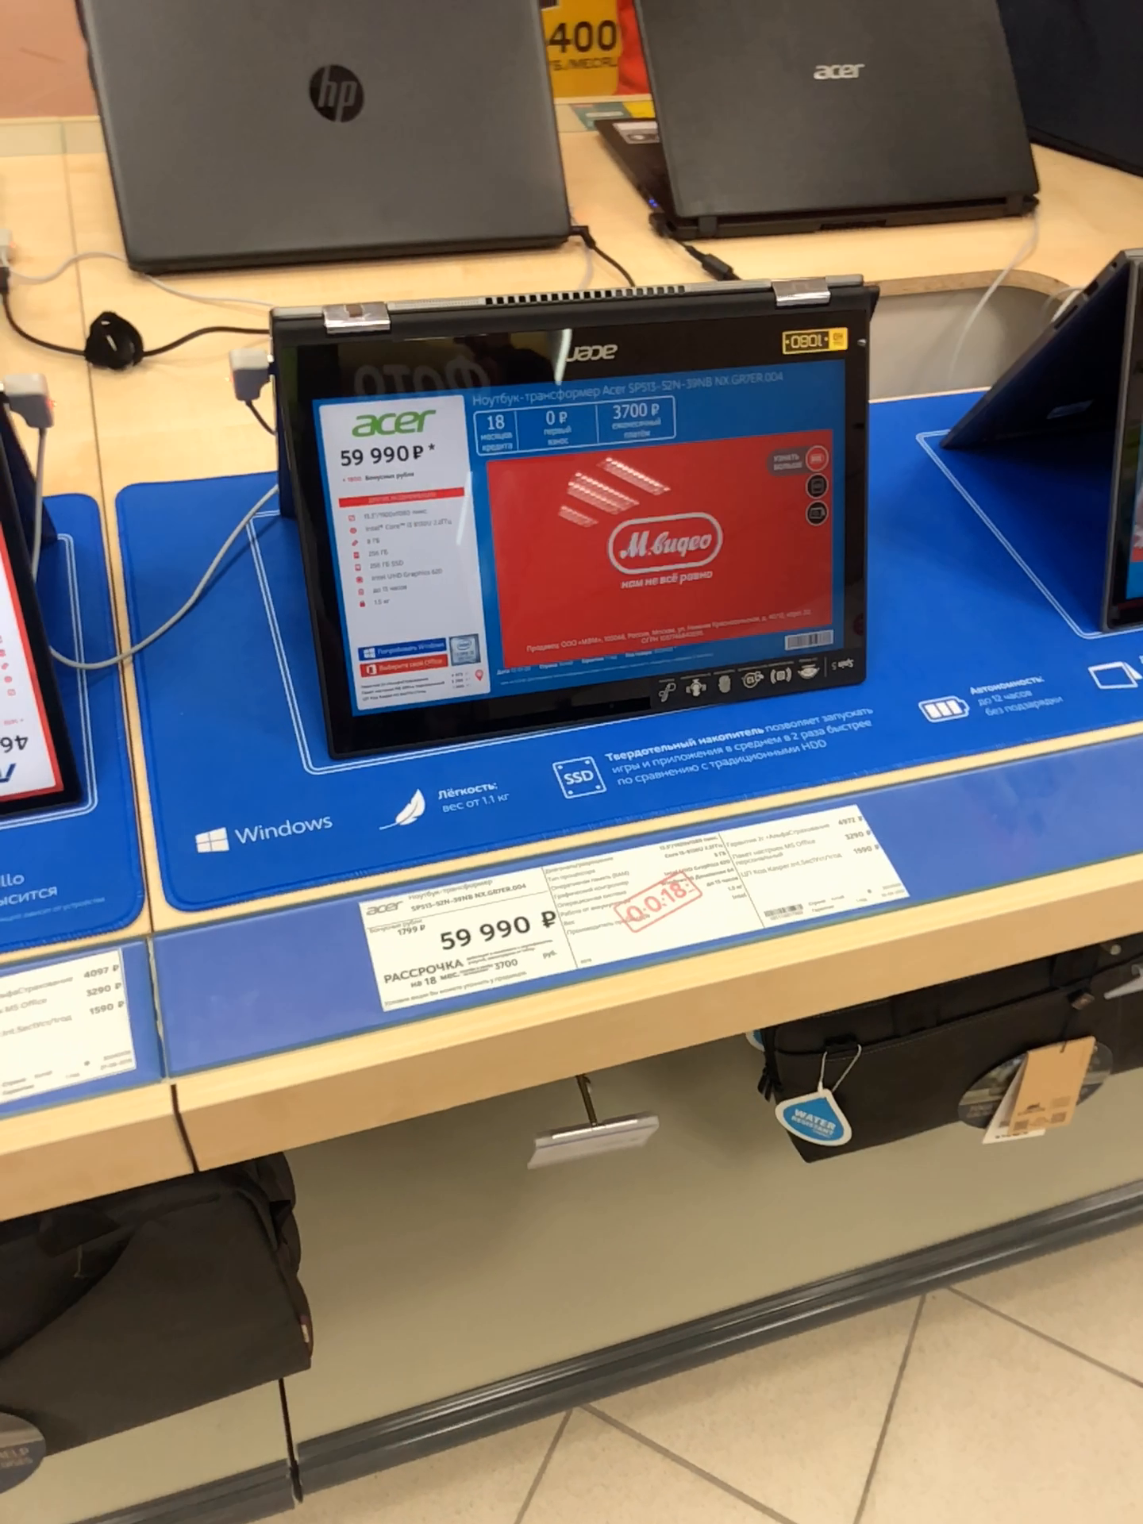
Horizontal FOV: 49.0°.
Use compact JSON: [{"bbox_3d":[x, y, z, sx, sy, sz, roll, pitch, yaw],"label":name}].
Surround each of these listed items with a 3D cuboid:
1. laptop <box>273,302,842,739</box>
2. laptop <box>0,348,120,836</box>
[{"bbox_3d":[-0.026,-0.139,0.826,0.307,0.159,0.201,-10,12,-22],"label":"laptop"},{"bbox_3d":[-0.422,-0.068,0.677,0.269,0.179,0.175,-10,18,-18],"label":"laptop"}]
